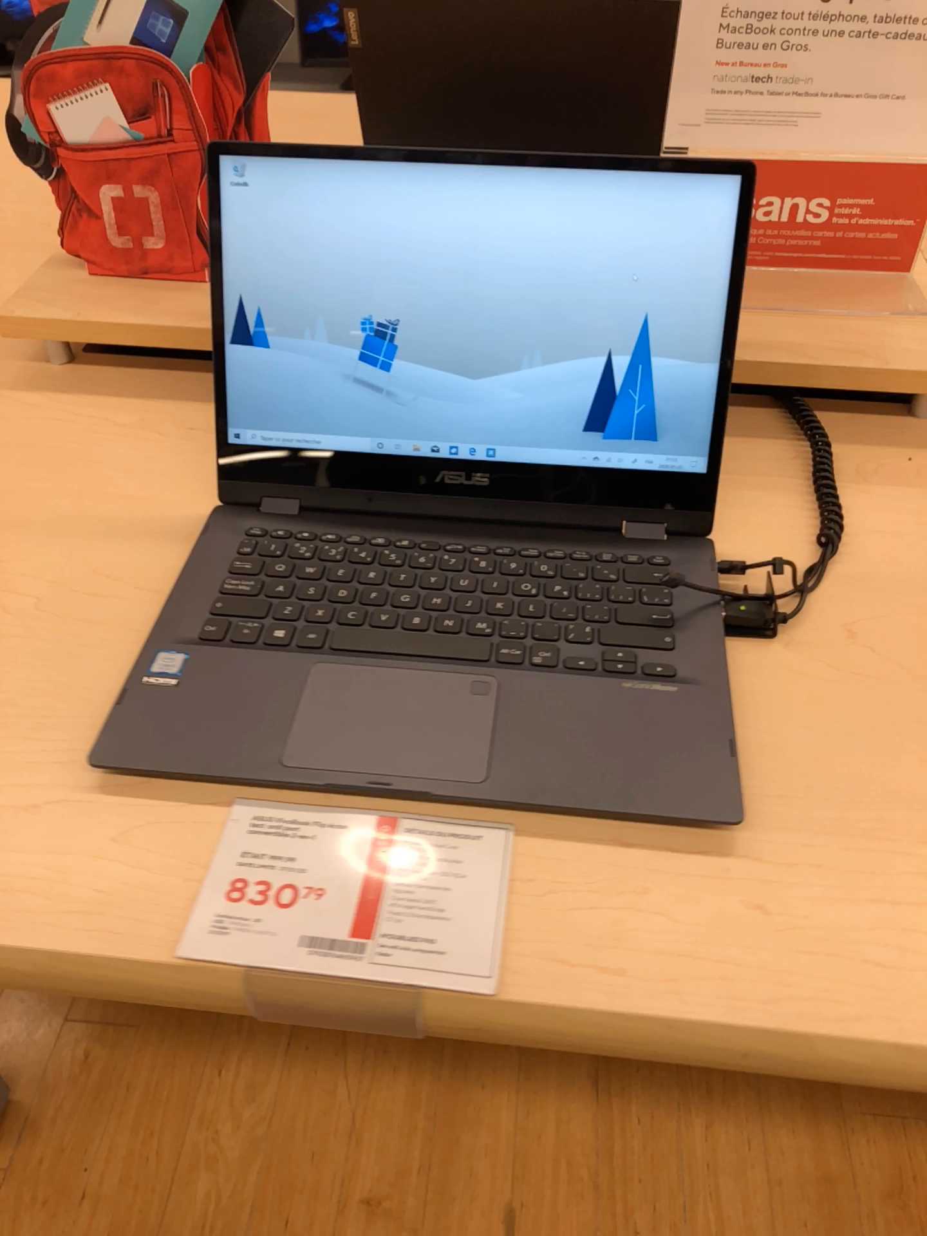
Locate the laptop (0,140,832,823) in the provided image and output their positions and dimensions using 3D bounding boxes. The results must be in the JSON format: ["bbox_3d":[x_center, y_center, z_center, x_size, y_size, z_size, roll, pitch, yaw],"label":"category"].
[{"bbox_3d":[-0.010,-0.094,0.542,0.312,0.188,0.314,5,43,5],"label":"laptop"}]
